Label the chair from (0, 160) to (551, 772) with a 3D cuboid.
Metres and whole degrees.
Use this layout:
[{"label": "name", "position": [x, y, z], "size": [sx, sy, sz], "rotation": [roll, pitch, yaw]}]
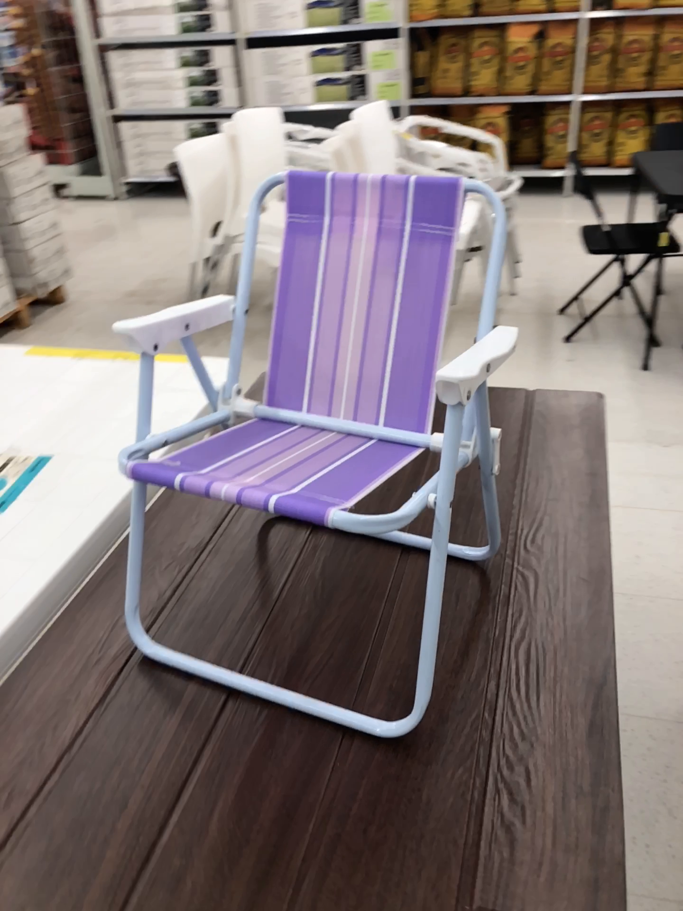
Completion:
[{"label": "chair", "position": [-0.051, -0.039, 0.787], "size": [0.421, 0.437, 0.392], "rotation": [11, 33, 23]}]
